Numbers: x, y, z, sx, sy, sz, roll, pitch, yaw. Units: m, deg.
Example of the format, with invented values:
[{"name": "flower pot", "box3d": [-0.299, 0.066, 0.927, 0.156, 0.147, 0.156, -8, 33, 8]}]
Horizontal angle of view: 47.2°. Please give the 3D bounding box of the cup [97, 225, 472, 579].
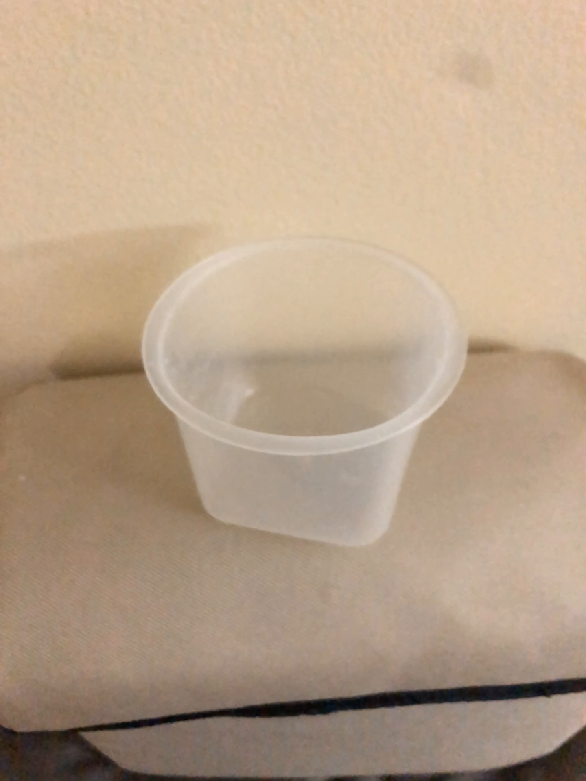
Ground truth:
[{"name": "cup", "box3d": [0.004, 0.000, 0.184, 0.080, 0.046, 0.076, -1, 50, 1]}]
